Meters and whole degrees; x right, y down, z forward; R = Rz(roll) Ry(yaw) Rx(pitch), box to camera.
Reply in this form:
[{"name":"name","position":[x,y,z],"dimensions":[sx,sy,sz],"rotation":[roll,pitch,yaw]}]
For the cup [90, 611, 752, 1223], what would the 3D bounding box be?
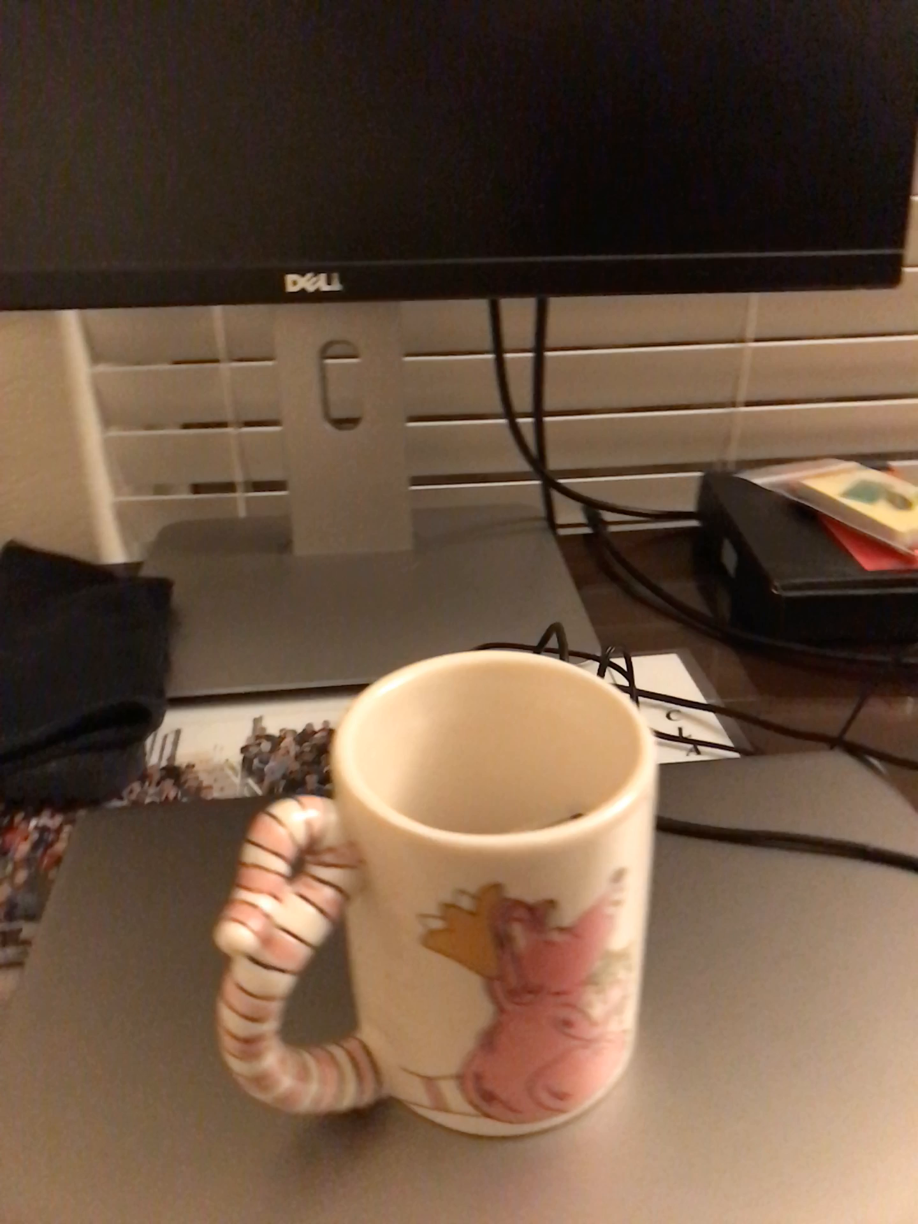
[{"name":"cup","position":[-0.010,0.075,0.252],"dimensions":[0.130,0.099,0.080],"rotation":[-14,30,-23]}]
